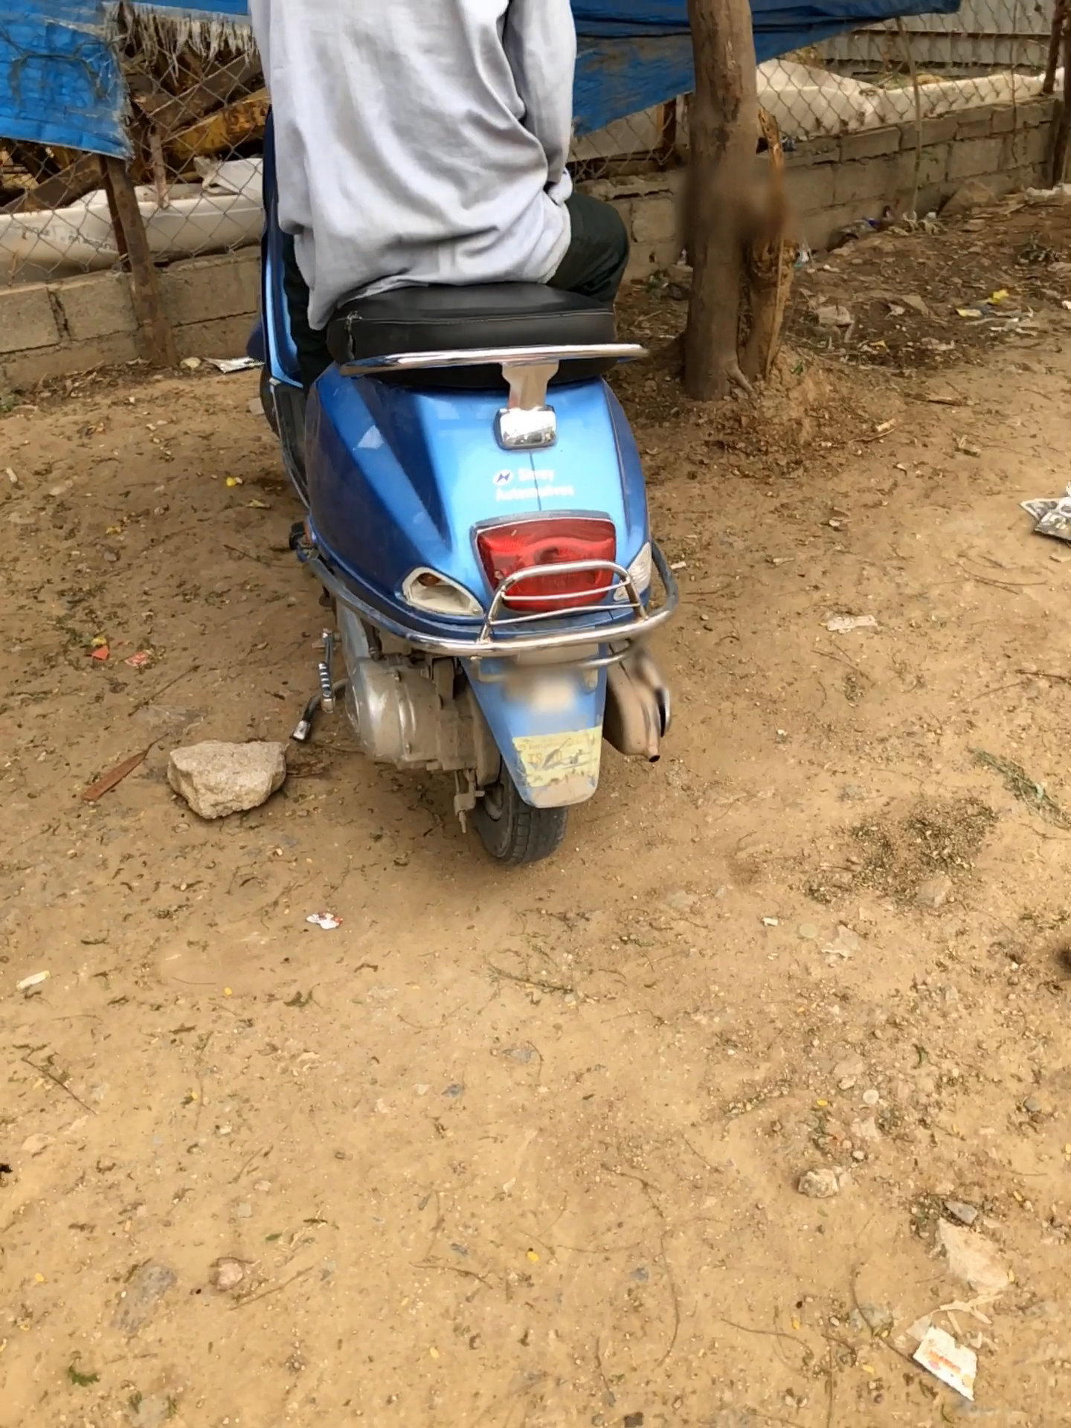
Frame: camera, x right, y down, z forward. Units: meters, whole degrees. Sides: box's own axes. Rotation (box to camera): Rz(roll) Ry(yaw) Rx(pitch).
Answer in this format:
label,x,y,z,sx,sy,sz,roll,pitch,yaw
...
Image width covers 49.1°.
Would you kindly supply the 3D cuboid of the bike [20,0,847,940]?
label,x,y,z,sx,sy,sz,roll,pitch,yaw
bike,-0.290,-0.711,2.053,0.633,1.253,1.572,-15,39,-19
